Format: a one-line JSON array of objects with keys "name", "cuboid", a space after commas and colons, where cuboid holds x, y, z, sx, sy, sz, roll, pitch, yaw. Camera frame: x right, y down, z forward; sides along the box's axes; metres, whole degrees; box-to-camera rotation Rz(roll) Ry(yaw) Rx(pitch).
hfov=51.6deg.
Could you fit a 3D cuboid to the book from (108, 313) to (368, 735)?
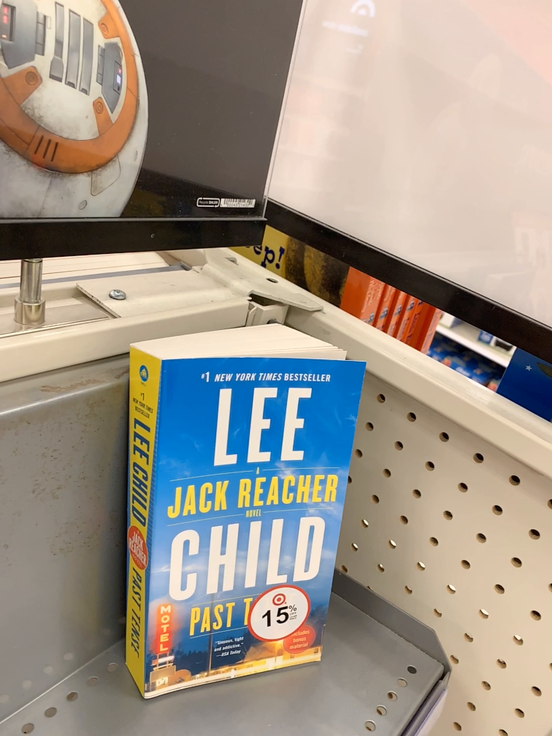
[{"name": "book", "cuboid": [-0.026, 0.074, 0.328, 0.110, 0.197, 0.080, -6, 17, -39]}]
